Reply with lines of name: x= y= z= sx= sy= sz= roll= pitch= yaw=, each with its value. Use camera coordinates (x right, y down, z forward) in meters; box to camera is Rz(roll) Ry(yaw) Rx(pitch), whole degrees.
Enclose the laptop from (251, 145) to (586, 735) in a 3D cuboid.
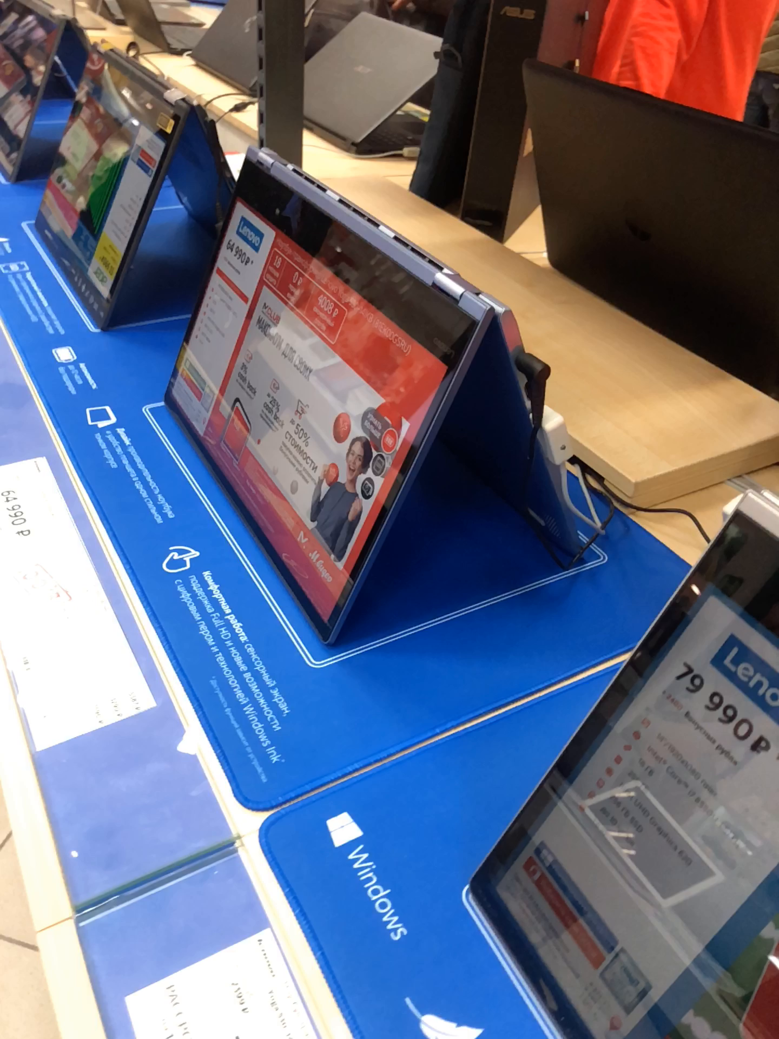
laptop: x=0.013 y=-0.049 z=0.701 sx=0.221 sy=0.157 sz=0.306 roll=23 pitch=17 yaw=-47
